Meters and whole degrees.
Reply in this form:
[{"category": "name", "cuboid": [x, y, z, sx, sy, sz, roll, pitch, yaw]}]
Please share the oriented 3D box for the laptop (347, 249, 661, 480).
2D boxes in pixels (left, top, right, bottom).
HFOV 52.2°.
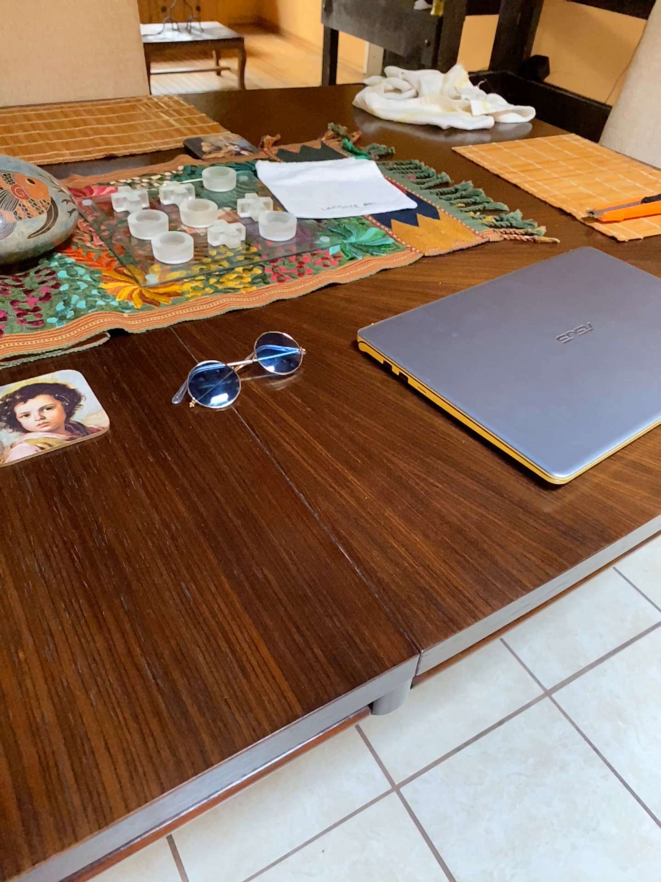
[{"category": "laptop", "cuboid": [0.240, -0.109, 0.711, 0.384, 0.001, 0.246, -25, 50, -30]}]
